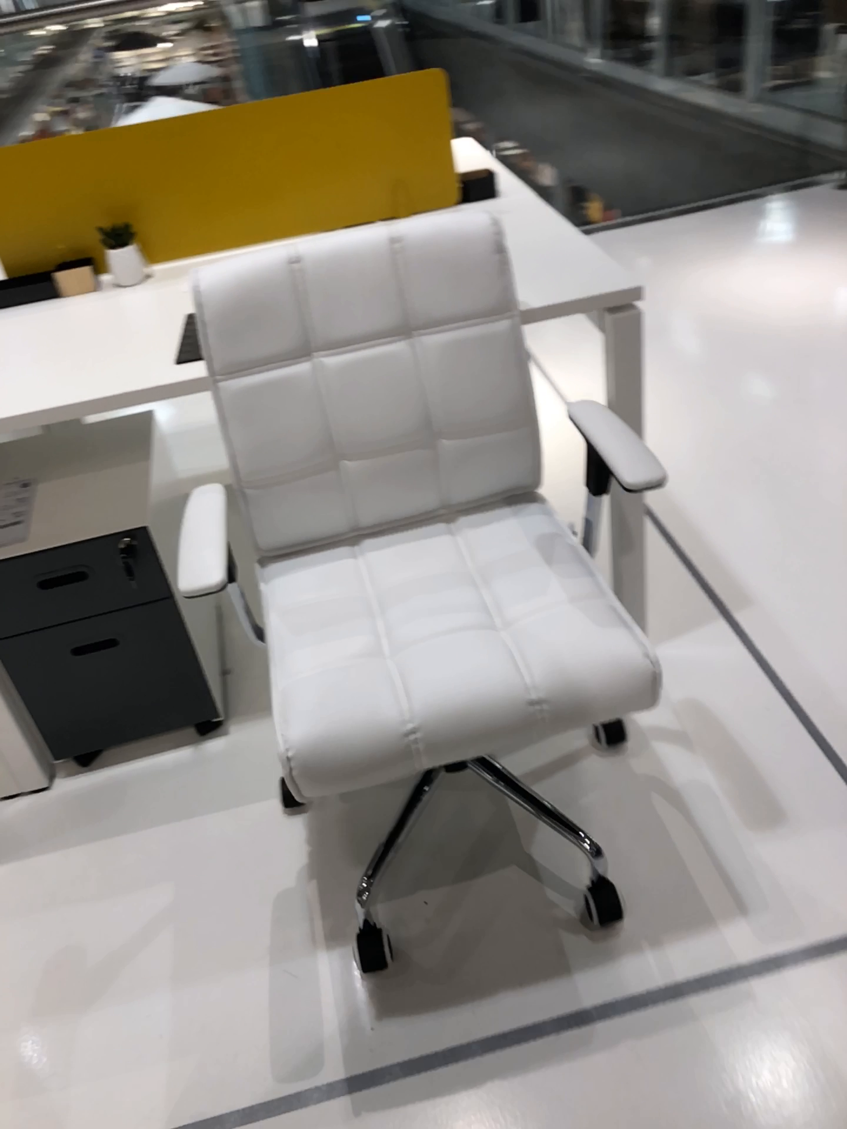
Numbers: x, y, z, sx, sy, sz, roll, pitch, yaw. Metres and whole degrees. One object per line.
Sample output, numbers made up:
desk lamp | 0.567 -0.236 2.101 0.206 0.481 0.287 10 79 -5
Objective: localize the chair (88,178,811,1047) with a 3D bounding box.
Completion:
chair | 0.023 0.047 1.309 0.650 0.884 0.634 -15 35 -7
